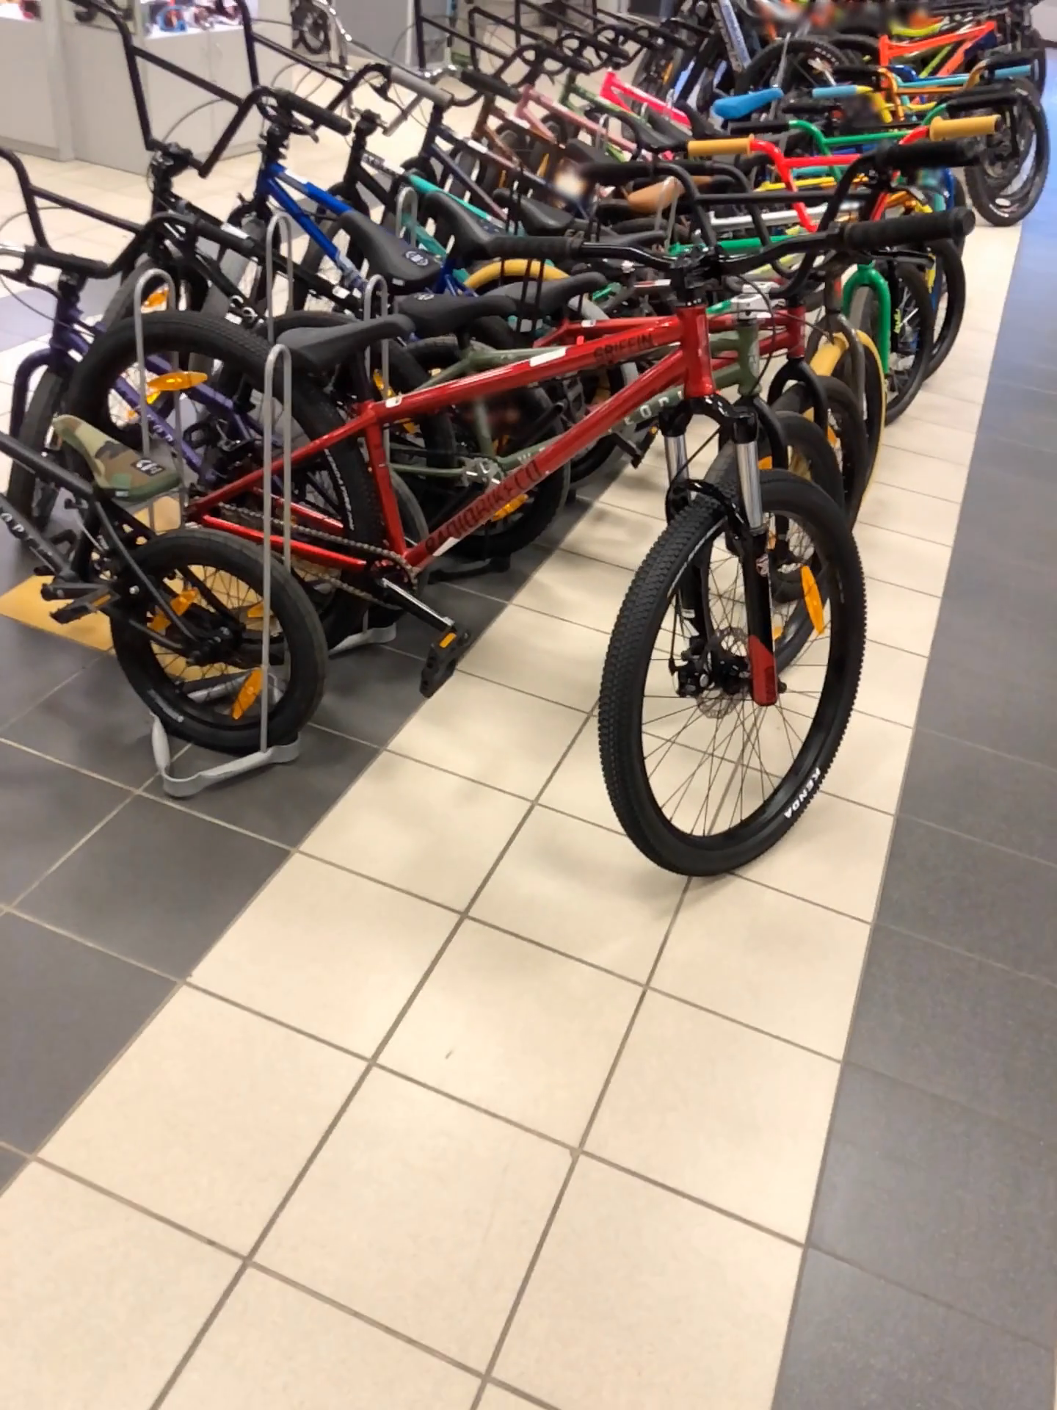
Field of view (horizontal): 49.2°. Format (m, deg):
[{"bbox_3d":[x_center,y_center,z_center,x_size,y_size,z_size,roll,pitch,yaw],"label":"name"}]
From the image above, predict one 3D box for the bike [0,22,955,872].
[{"bbox_3d":[-0.154,-0.453,1.901,1.336,0.997,0.715,13,34,7],"label":"bike"}]
